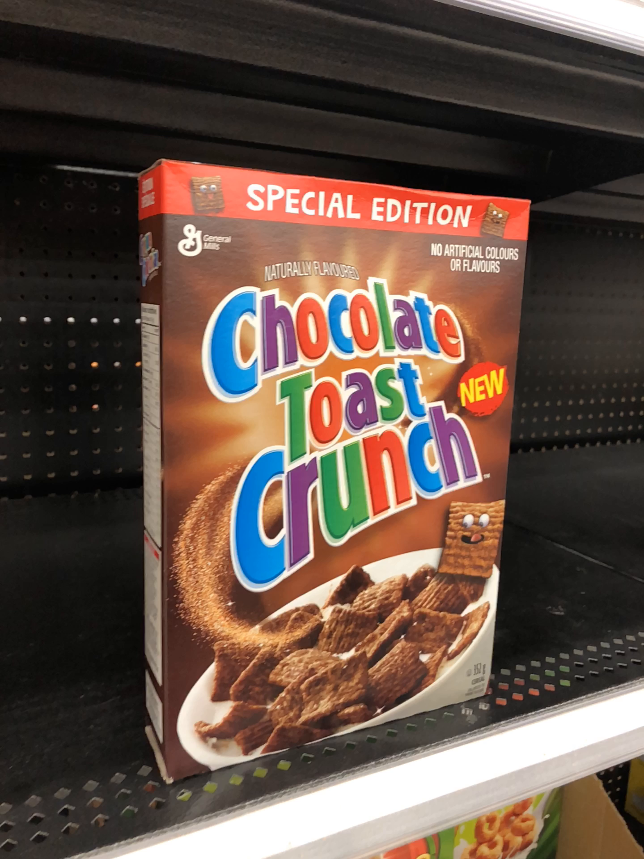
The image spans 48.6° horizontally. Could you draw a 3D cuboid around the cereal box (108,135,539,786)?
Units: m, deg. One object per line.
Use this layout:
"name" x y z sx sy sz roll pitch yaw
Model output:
"cereal box" 0.003 0.013 0.355 0.200 0.269 0.050 -3 11 -27
